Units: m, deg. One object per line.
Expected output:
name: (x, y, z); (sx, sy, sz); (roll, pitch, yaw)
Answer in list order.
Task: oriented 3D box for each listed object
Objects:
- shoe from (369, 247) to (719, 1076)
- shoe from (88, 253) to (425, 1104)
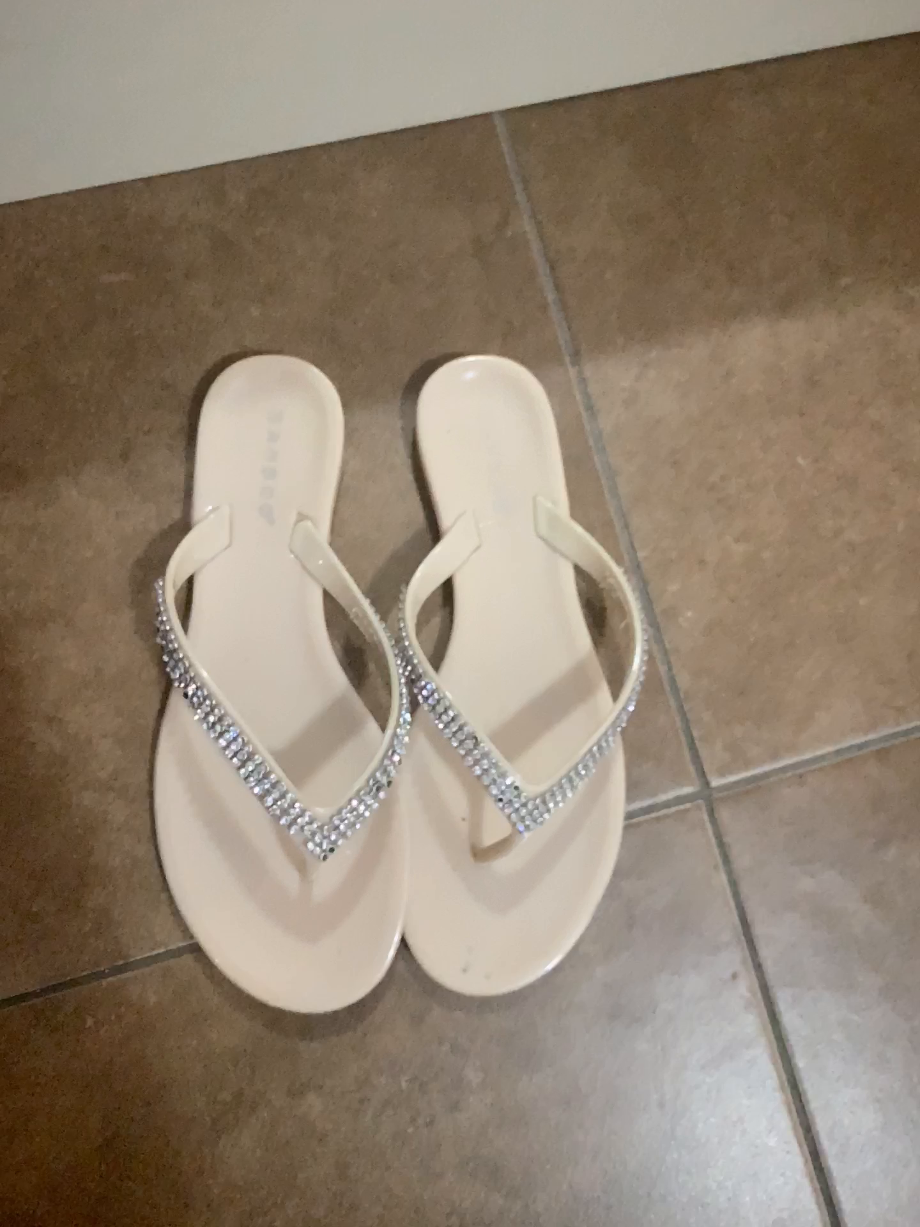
shoe: (0.020, 0.010, 0.322); (0.091, 0.067, 0.249); (-2, 82, -5)
shoe: (-0.066, 0.014, 0.316); (0.093, 0.067, 0.249); (-2, 82, -5)
